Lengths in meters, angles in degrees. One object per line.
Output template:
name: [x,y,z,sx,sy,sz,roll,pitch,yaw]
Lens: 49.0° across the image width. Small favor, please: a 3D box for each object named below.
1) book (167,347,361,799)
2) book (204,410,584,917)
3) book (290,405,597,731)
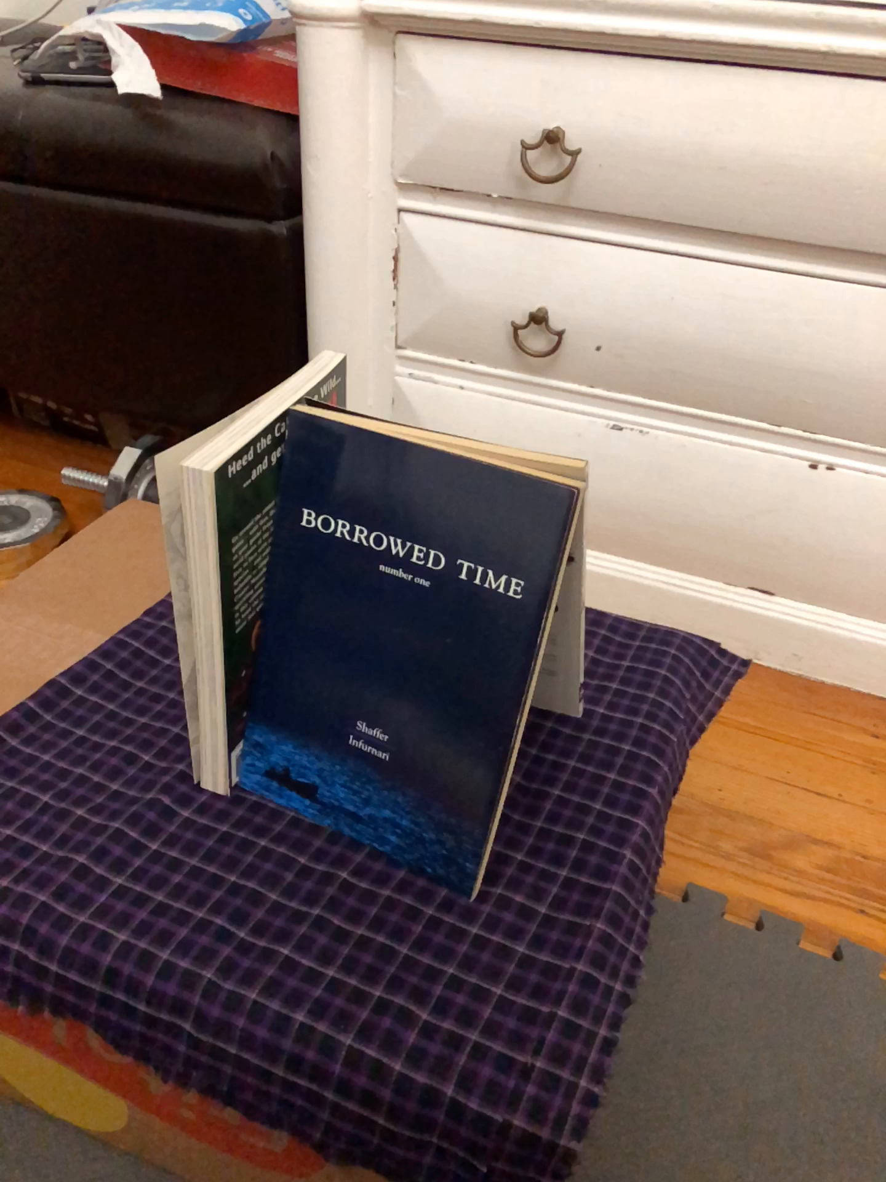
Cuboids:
book: [-0.090,-0.010,0.495,0.020,0.189,0.141,19,37,12]
book: [-0.031,0.033,0.448,0.150,0.199,0.010,18,16,19]
book: [0.007,-0.003,0.499,0.140,0.199,0.010,14,54,18]
